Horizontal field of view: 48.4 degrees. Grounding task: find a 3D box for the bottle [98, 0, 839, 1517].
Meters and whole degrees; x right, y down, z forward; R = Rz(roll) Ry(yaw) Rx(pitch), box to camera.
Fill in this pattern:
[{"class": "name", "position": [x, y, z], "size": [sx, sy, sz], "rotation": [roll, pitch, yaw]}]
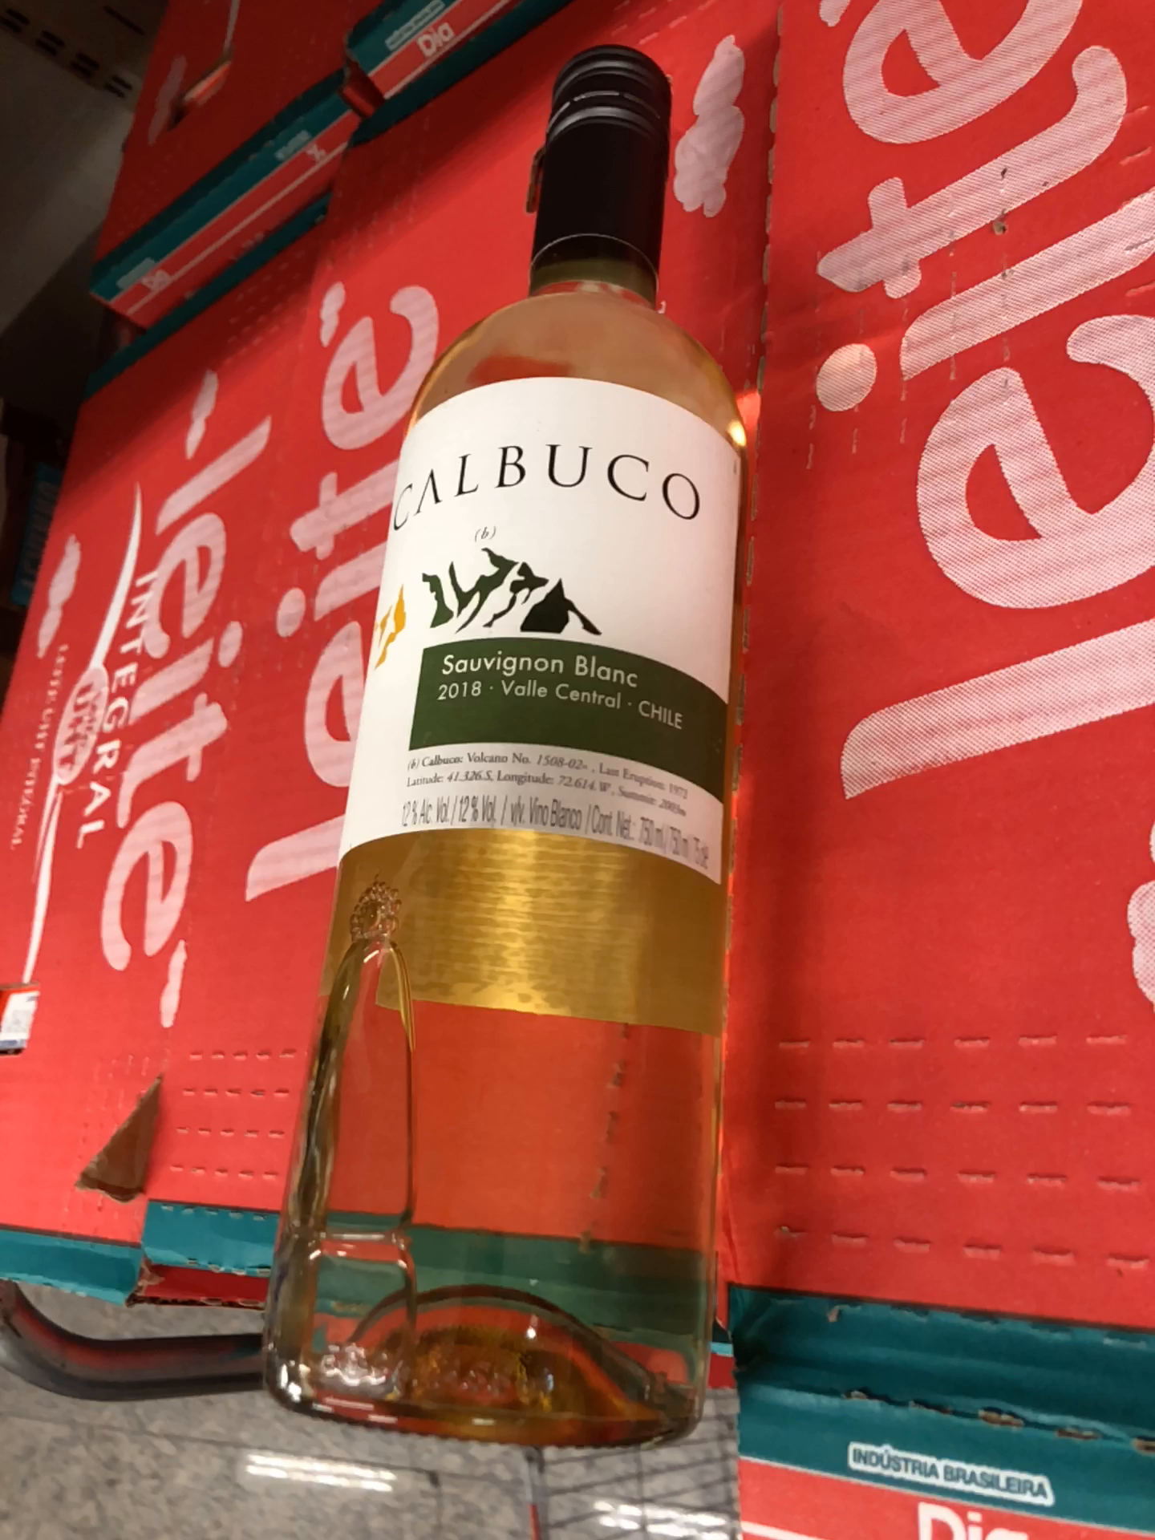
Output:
[{"class": "bottle", "position": [-0.002, -0.036, 0.248], "size": [0.090, 0.100, 0.290], "rotation": [1, 71, 6]}]
